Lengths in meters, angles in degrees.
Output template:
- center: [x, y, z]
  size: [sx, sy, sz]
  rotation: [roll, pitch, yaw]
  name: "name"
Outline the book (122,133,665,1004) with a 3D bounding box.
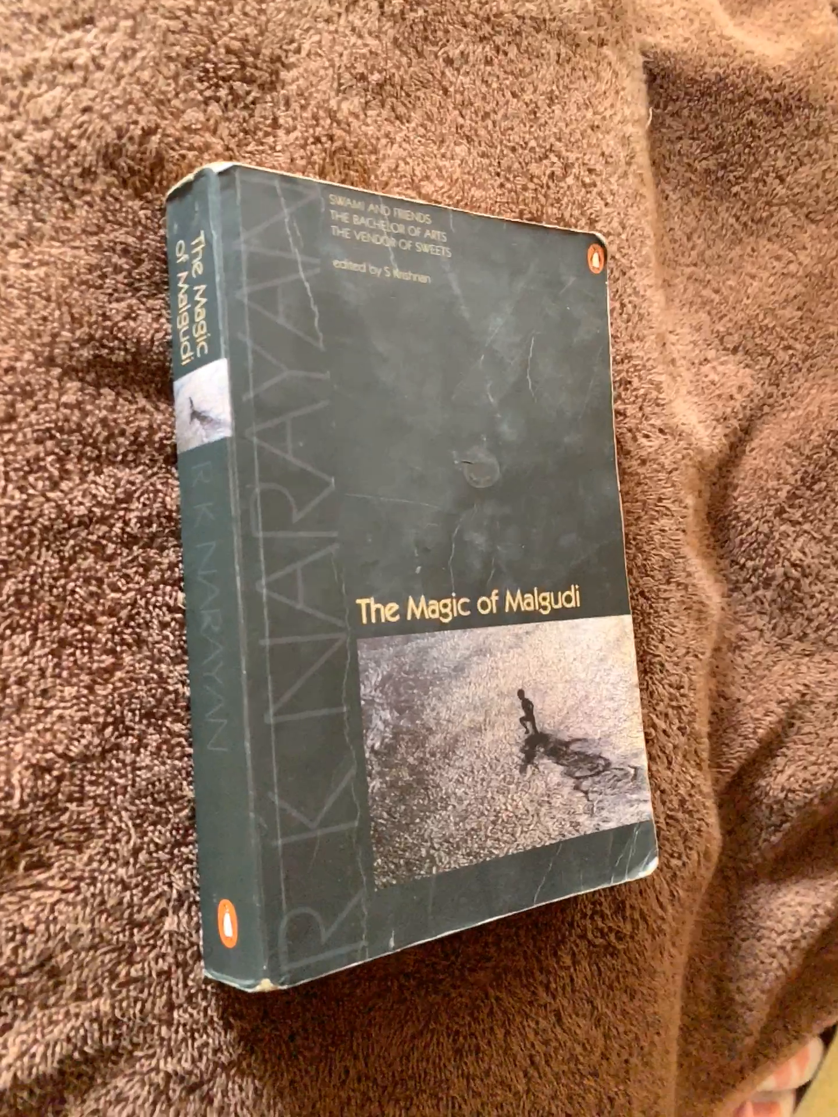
- center: [-0.001, -0.002, 0.242]
  size: [0.142, 0.030, 0.193]
  rotation: [-2, 85, -32]
  name: "book"
